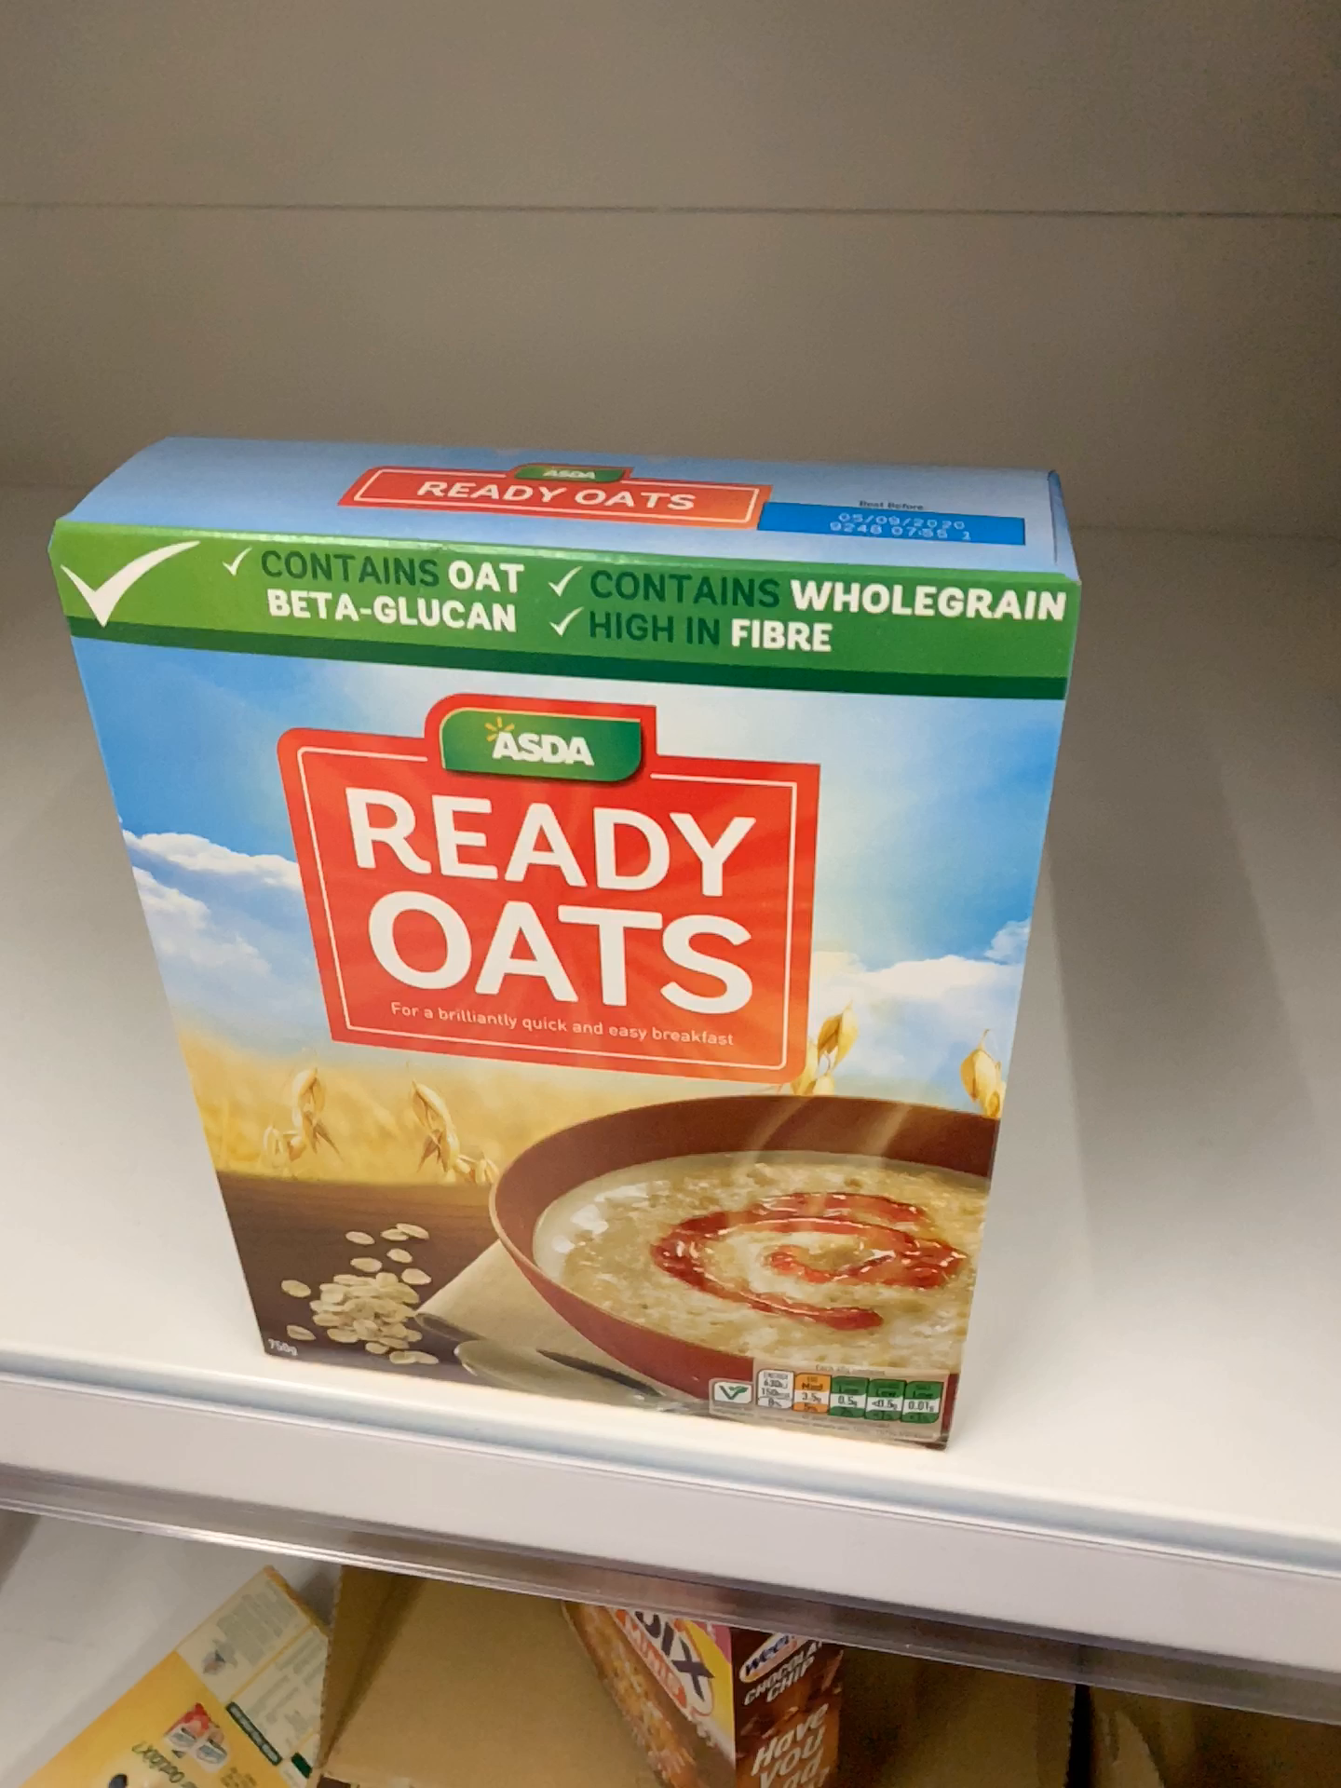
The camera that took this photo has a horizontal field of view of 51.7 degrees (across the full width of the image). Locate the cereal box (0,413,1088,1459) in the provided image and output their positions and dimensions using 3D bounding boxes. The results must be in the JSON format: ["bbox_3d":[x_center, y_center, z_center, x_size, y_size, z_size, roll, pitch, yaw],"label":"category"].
[{"bbox_3d":[-0.023,0.022,0.354,0.210,0.257,0.071,5,35,9],"label":"cereal box"}]
